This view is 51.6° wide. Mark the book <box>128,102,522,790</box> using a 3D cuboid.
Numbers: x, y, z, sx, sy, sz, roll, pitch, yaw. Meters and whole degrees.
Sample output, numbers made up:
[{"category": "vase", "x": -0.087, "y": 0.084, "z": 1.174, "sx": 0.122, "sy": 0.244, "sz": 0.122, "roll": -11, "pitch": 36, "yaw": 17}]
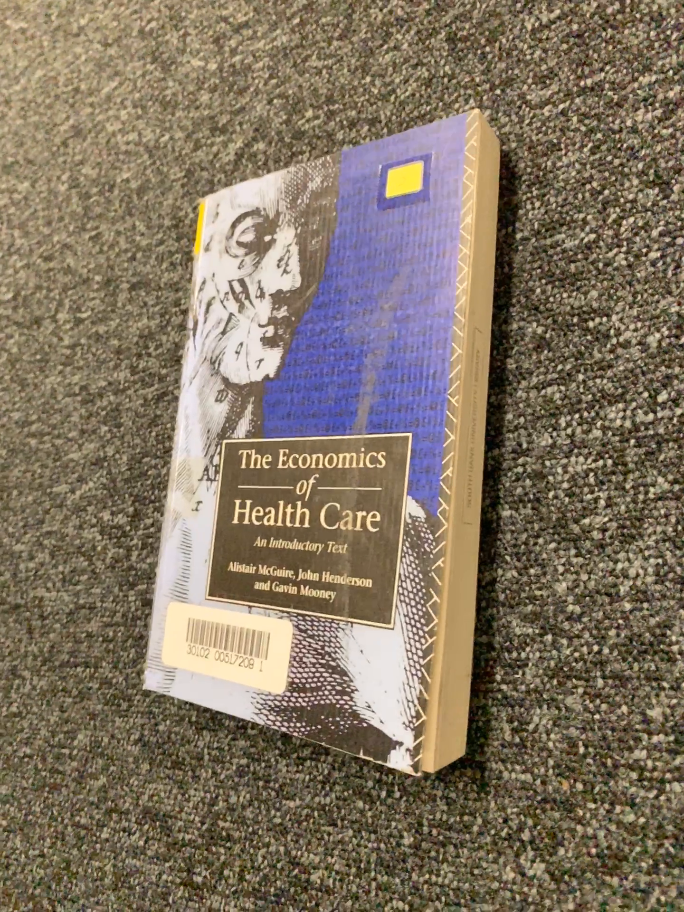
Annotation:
[{"category": "book", "x": -0.010, "y": -0.007, "z": 0.262, "sx": 0.136, "sy": 0.030, "sz": 0.207, "roll": -1, "pitch": 80, "yaw": 37}]
